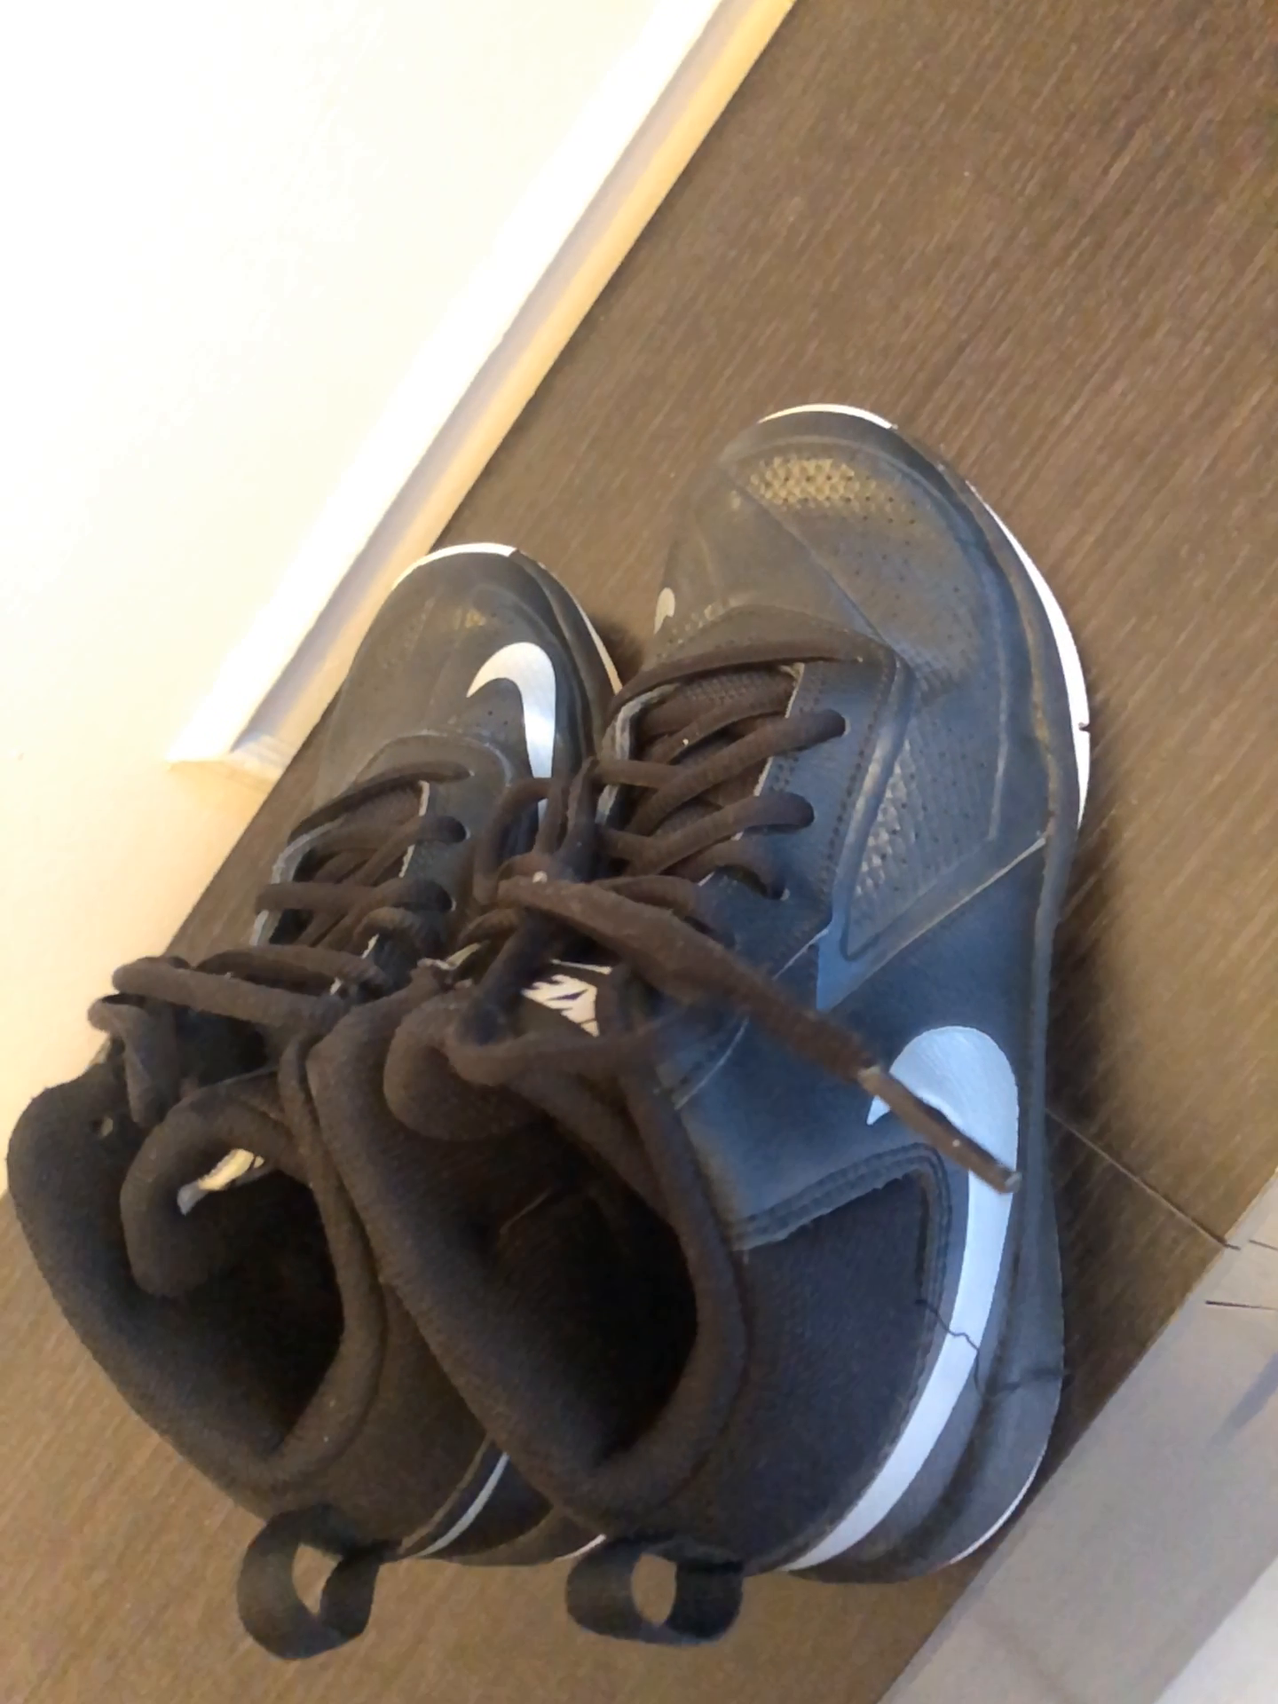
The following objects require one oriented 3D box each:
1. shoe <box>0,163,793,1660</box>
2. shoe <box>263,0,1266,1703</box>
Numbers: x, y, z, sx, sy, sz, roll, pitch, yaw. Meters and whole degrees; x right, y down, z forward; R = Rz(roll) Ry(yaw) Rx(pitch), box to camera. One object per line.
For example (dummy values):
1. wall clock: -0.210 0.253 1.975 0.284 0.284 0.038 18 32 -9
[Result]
1. shoe: -0.057 0.015 0.305 0.100 0.129 0.261 -19 64 29
2. shoe: 0.028 0.004 0.255 0.100 0.129 0.251 -12 67 31
